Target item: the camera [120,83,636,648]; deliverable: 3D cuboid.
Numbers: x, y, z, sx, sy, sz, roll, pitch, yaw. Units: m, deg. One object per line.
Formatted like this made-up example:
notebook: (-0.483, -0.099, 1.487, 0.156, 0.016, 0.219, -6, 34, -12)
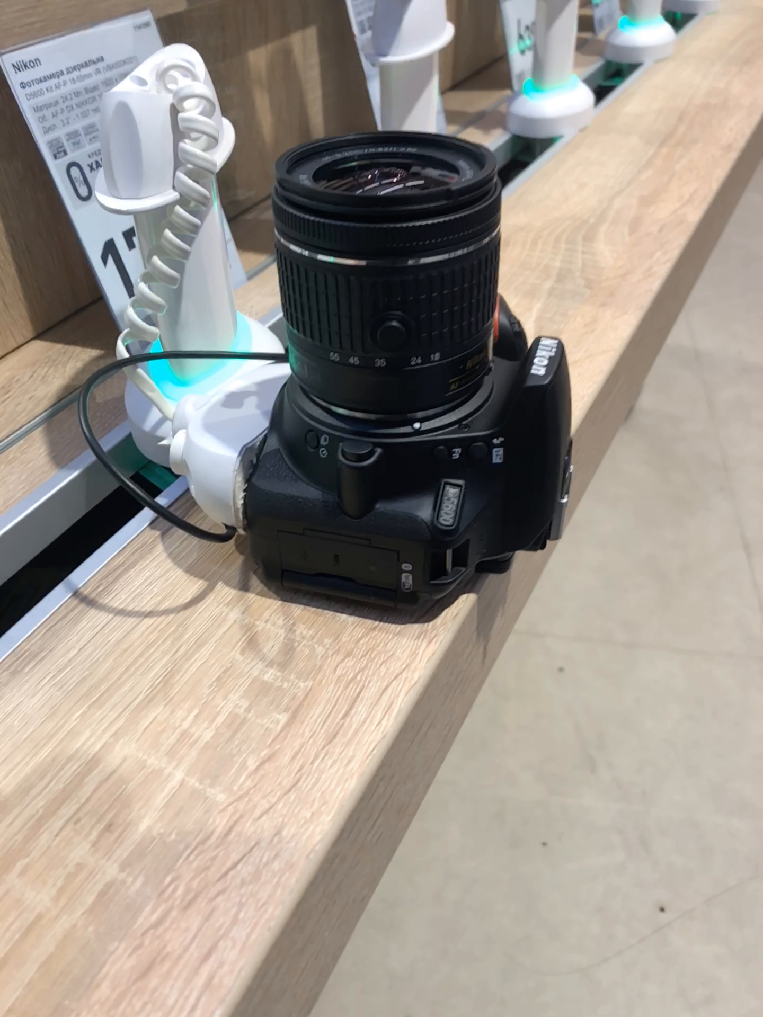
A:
camera: (0.012, -0.054, 0.272, 0.115, 0.117, 0.133, 8, 41, 11)
